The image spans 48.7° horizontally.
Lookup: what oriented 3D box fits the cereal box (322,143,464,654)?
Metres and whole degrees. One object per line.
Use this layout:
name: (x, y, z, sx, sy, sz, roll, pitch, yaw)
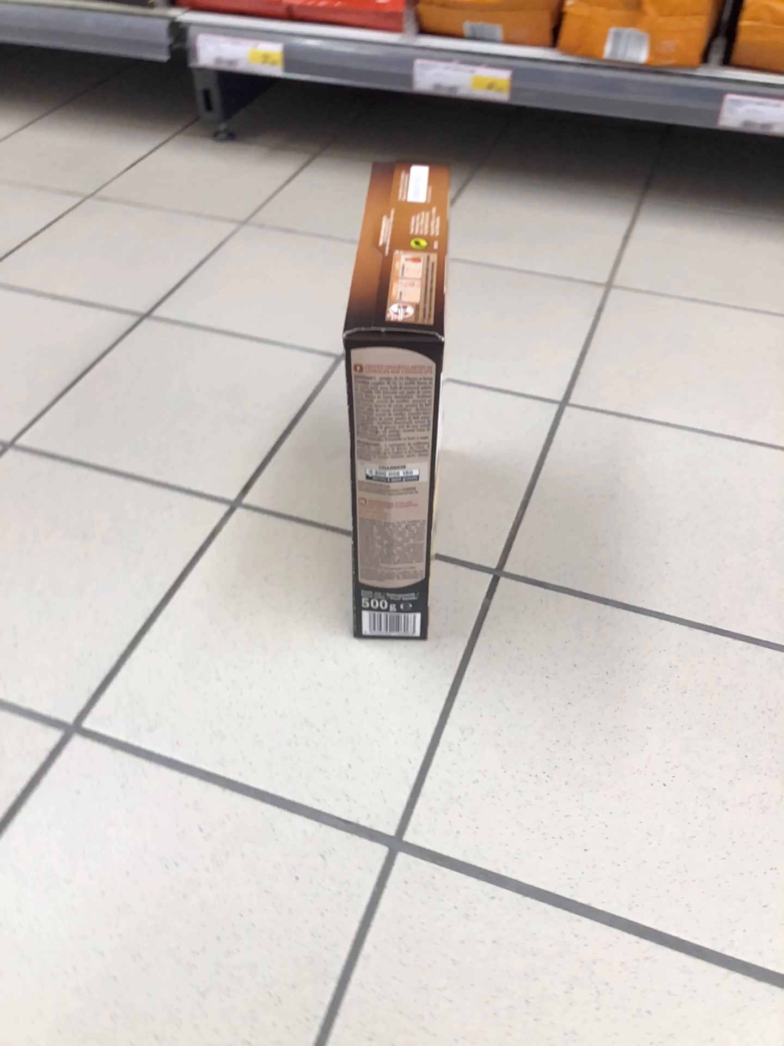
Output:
cereal box: (0.008, -0.073, 0.522, 0.060, 0.229, 0.201, 2, 44, 3)
